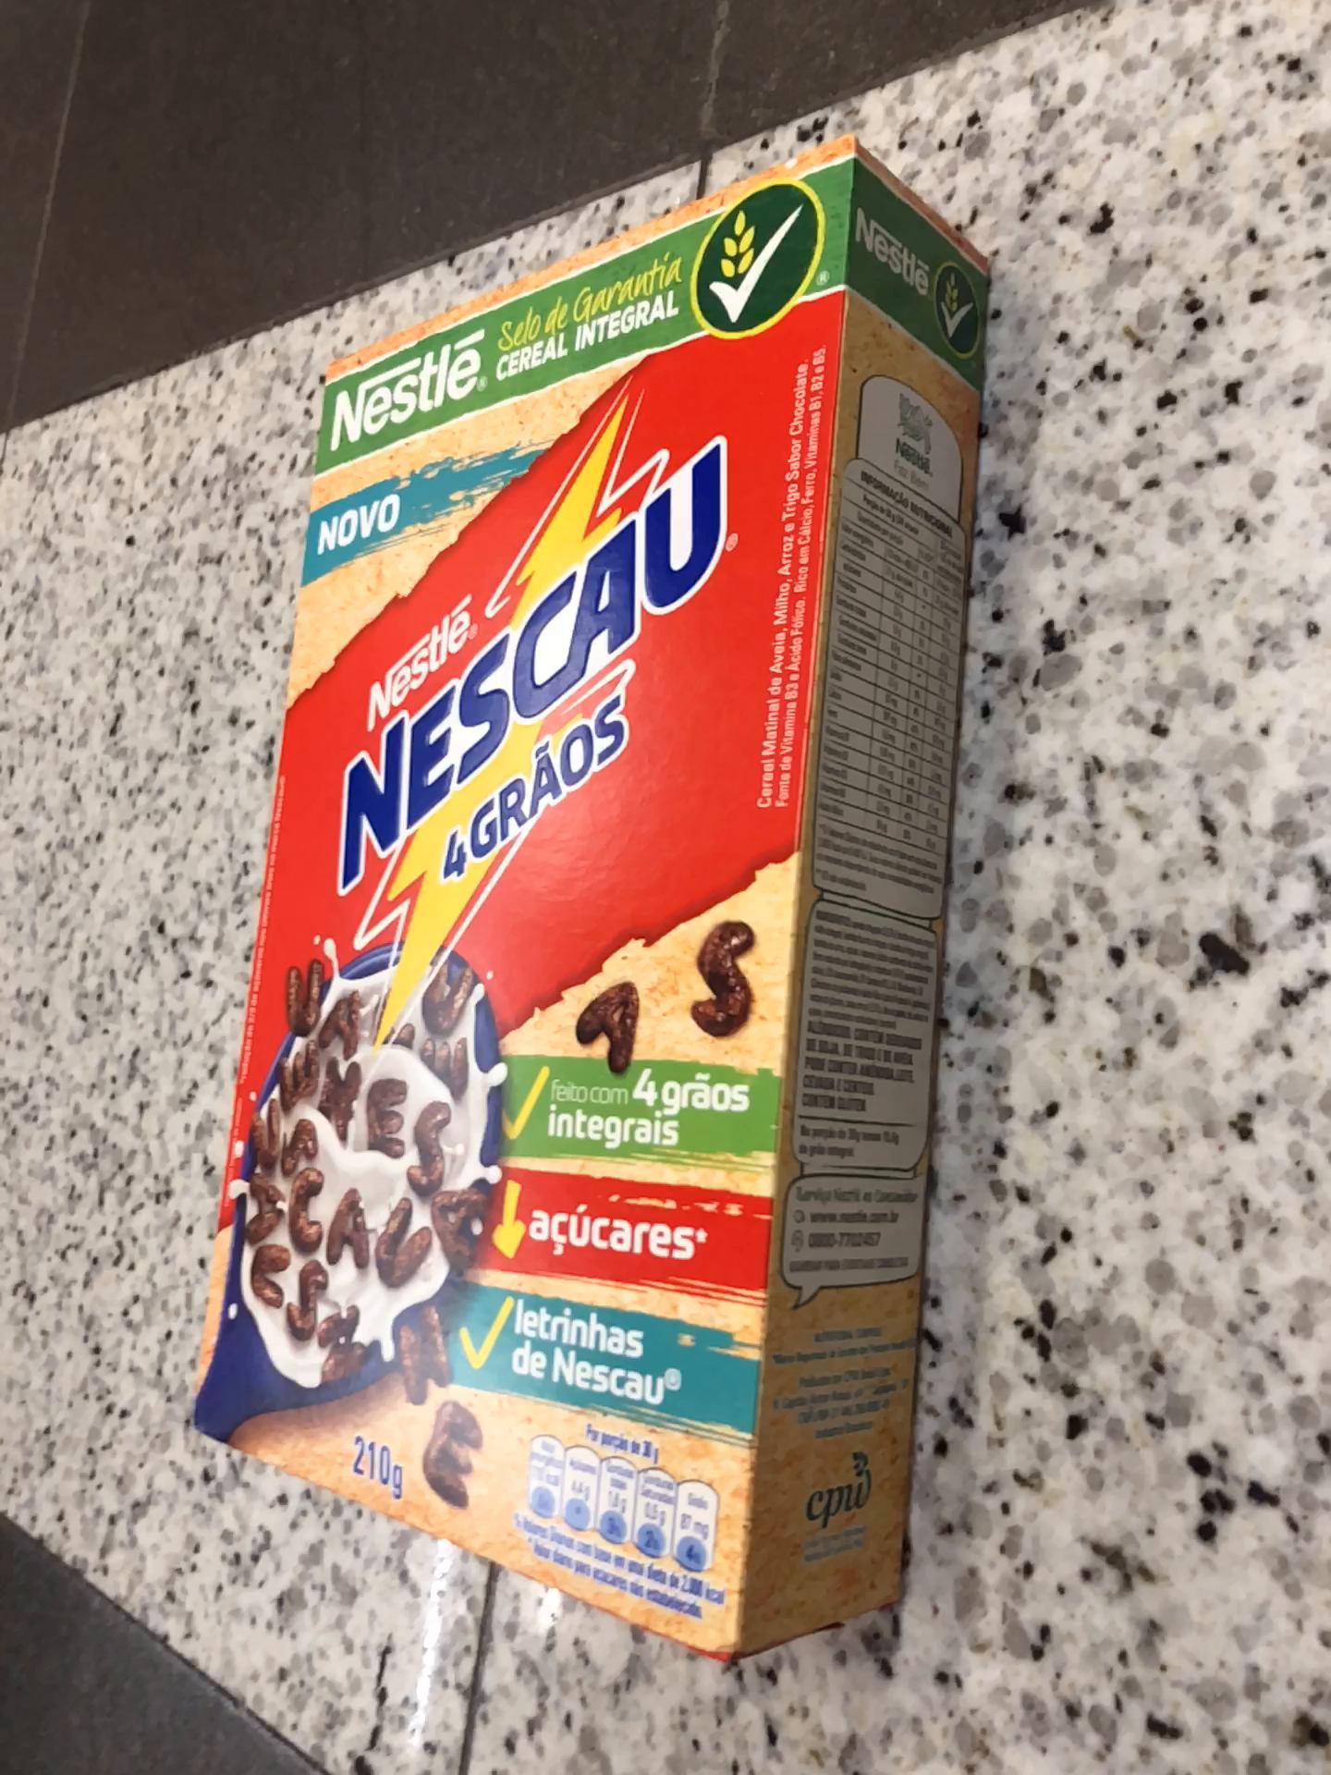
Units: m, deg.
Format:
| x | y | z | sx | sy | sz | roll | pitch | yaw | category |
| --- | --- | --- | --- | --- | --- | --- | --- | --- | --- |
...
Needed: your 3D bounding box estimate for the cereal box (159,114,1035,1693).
| x | y | z | sx | sy | sz | roll | pitch | yaw | category |
| --- | --- | --- | --- | --- | --- | --- | --- | --- | --- |
| -0.021 | 0.000 | 0.298 | 0.171 | 0.050 | 0.240 | -2 | 80 | 43 | cereal box |
